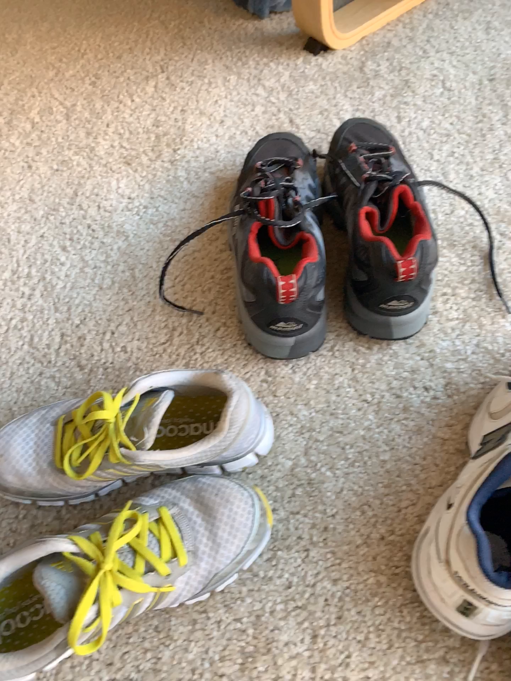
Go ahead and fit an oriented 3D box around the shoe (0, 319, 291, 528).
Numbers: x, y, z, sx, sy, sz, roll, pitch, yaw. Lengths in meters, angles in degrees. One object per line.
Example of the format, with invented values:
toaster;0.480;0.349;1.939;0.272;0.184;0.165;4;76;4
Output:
shoe;-0.113;0.076;0.479;0.270;0.090;0.110;-11;58;-4

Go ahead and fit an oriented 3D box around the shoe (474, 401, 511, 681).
shoe;0.343;0.175;0.370;0.330;0.090;0.120;-22;59;-11

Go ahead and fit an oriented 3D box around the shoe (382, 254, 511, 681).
shoe;0.257;0.097;0.457;0.120;0.130;0.331;32;64;20

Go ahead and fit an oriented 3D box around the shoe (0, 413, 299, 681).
shoe;-0.116;0.176;0.439;0.280;0.090;0.110;-20;59;-10

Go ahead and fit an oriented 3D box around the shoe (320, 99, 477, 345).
shoe;0.138;-0.136;0.570;0.100;0.090;0.271;-4;58;0

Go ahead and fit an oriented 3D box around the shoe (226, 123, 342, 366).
shoe;0.023;-0.115;0.587;0.100;0.090;0.271;-4;58;0
